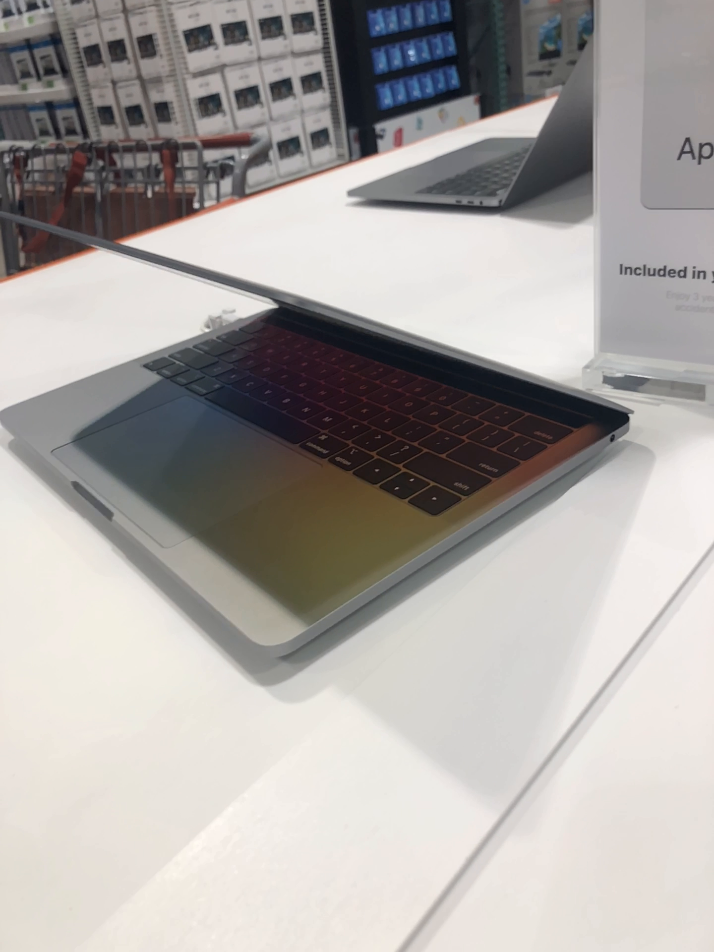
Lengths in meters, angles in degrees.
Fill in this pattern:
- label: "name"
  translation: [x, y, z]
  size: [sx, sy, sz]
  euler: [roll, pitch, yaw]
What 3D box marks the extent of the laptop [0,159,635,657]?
- label: "laptop"
  translation: [-0.054, -0.076, 0.401]
  size: [0.210, 0.109, 0.298]
  euler: [-28, 35, -30]
